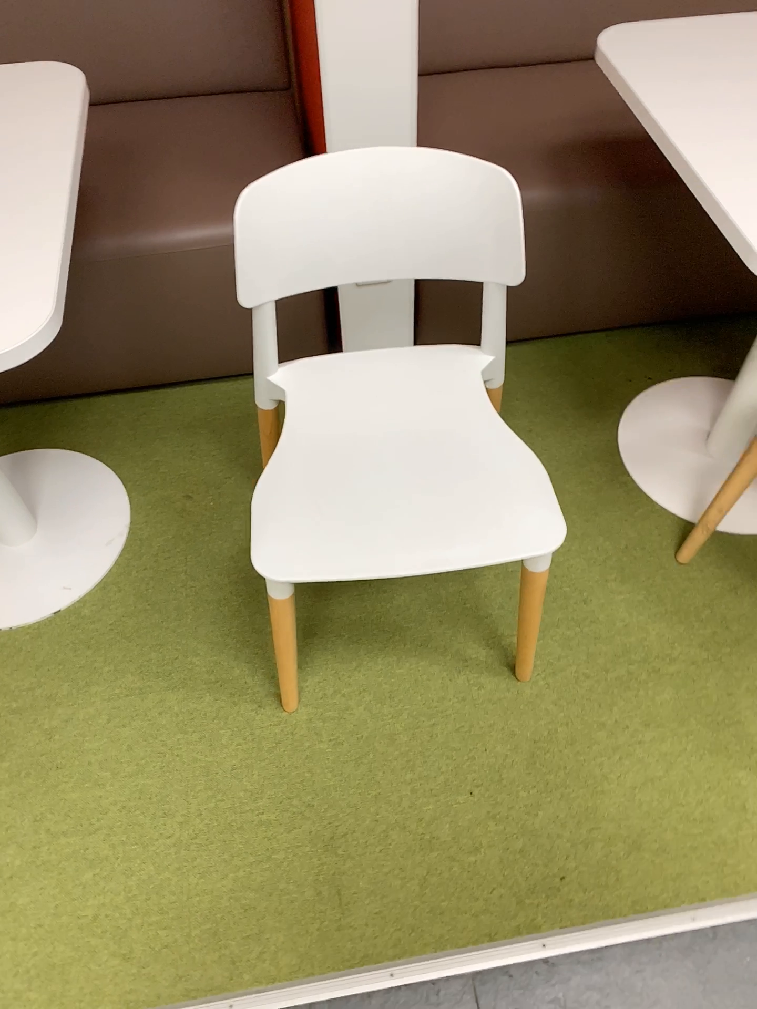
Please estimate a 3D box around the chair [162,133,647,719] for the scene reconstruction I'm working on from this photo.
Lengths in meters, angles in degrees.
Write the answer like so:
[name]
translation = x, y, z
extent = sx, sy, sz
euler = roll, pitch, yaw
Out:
[chair]
translation = 0.009, -0.072, 1.253
extent = 0.500, 0.787, 0.502
euler = -6, 53, -3
